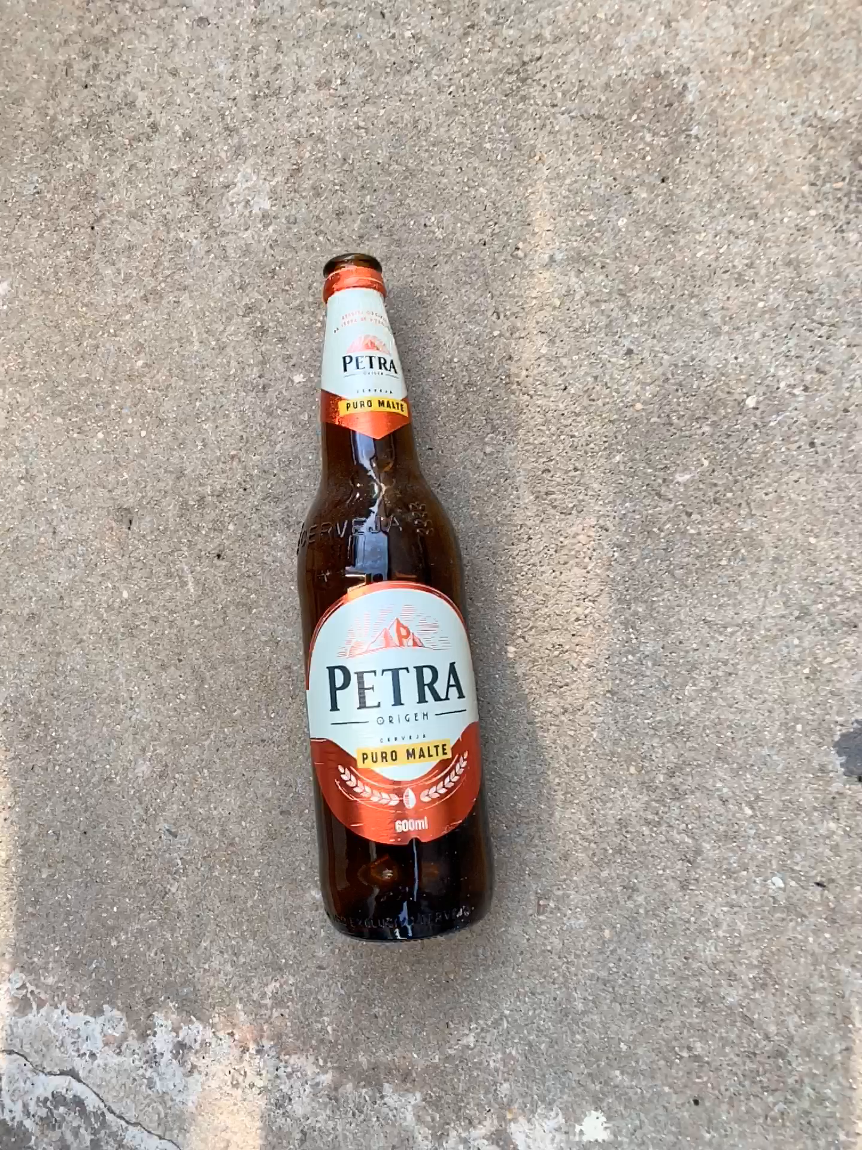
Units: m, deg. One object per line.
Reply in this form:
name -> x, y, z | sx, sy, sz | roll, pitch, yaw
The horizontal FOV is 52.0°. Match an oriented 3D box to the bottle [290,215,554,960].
bottle -> -0.011, 0.000, 0.357 | 0.080, 0.070, 0.270 | -1, 79, -11
